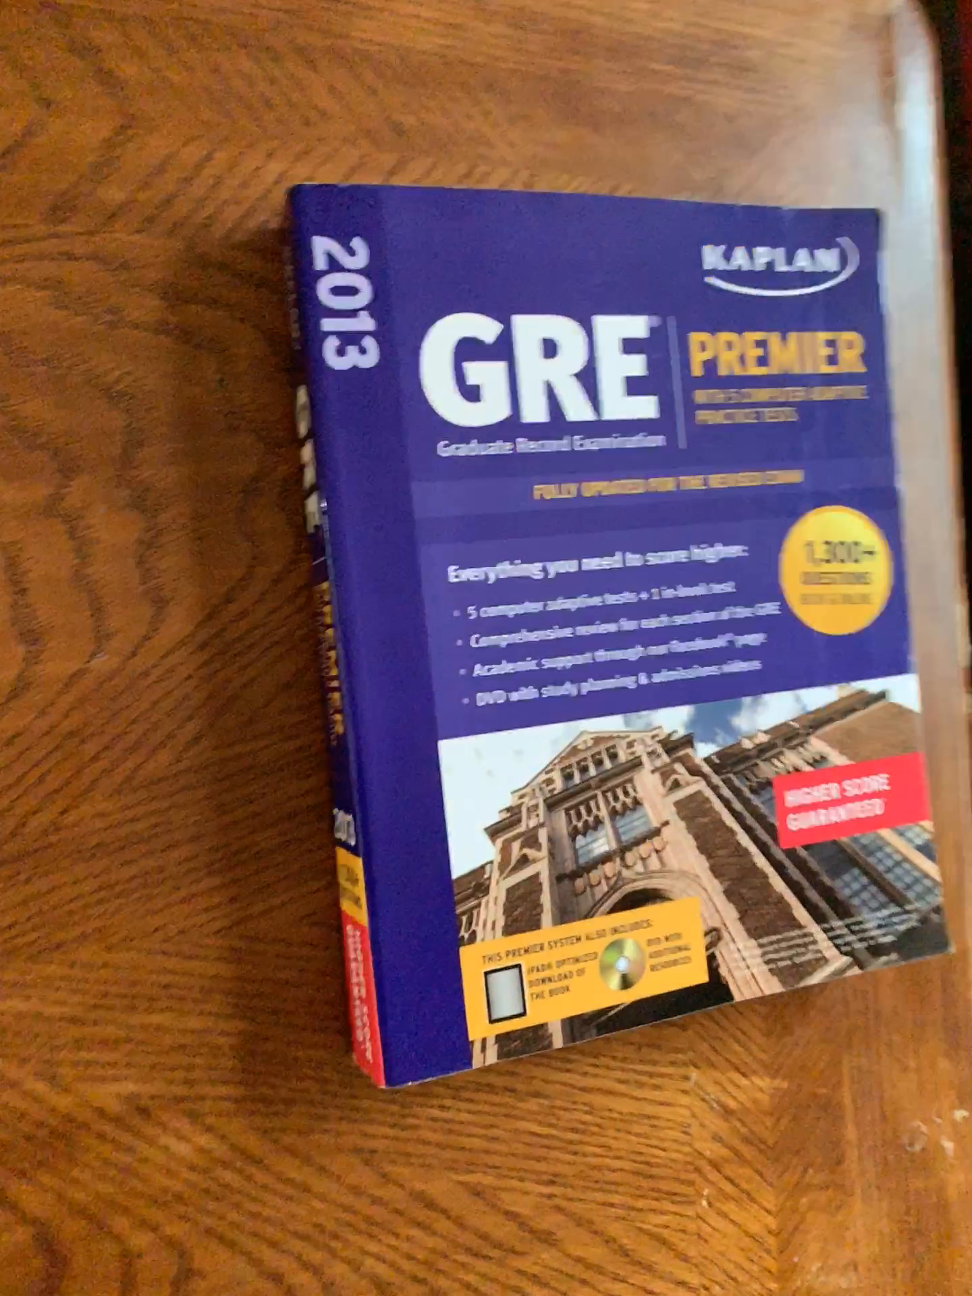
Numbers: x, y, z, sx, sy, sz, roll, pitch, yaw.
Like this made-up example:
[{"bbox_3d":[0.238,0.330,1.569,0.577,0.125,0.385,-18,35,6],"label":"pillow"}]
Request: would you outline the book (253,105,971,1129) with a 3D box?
[{"bbox_3d":[0.049,-0.017,0.348,0.221,0.060,0.290,-6,91,-19],"label":"book"}]
